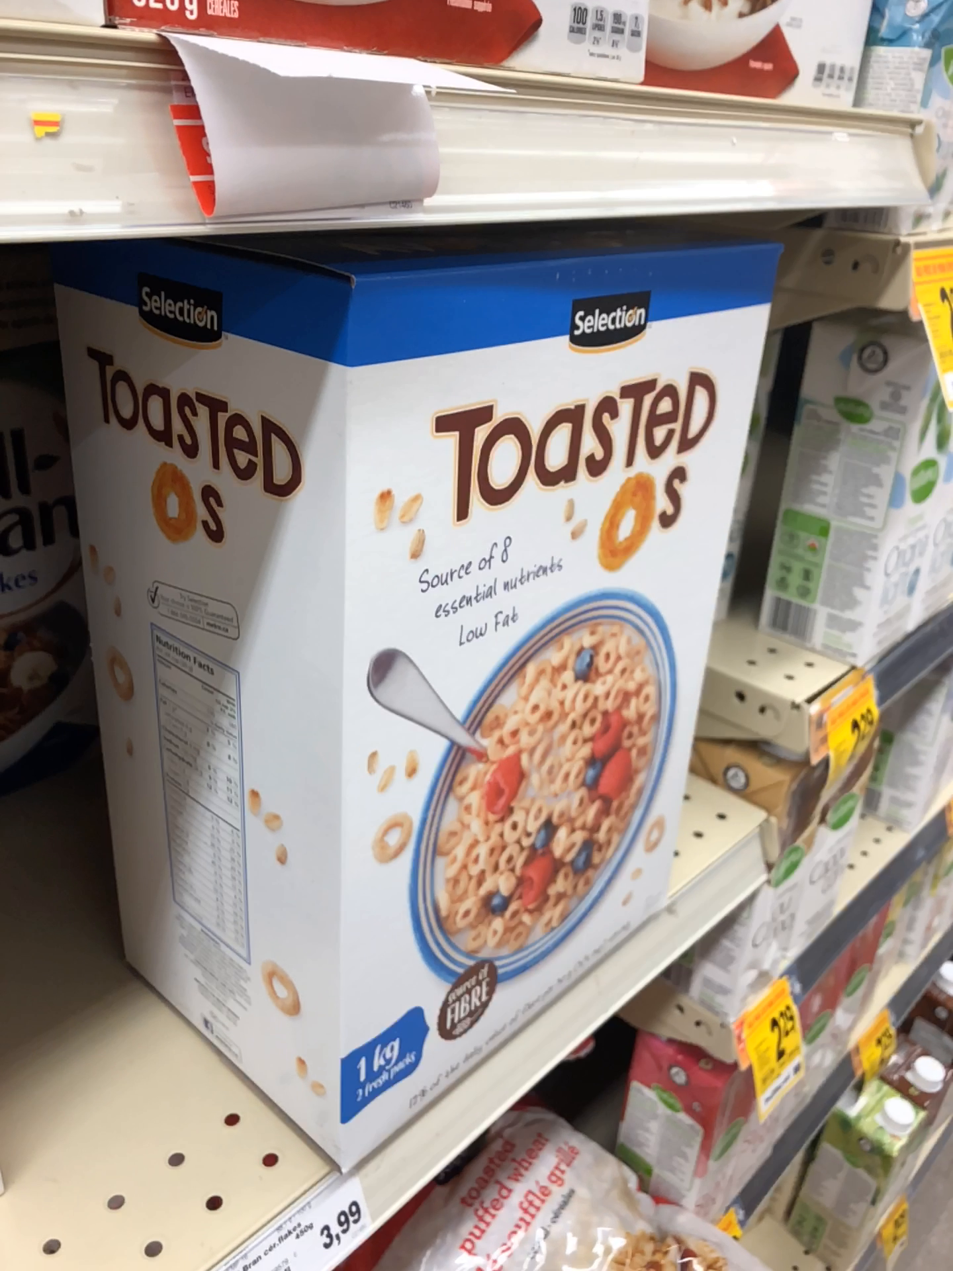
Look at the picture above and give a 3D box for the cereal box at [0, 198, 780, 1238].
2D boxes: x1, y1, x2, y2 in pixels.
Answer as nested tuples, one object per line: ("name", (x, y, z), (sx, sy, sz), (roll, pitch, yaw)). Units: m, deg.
("cereal box", (-0.028, 0.005, 0.446), (0.160, 0.338, 0.241), (22, 31, 36))
